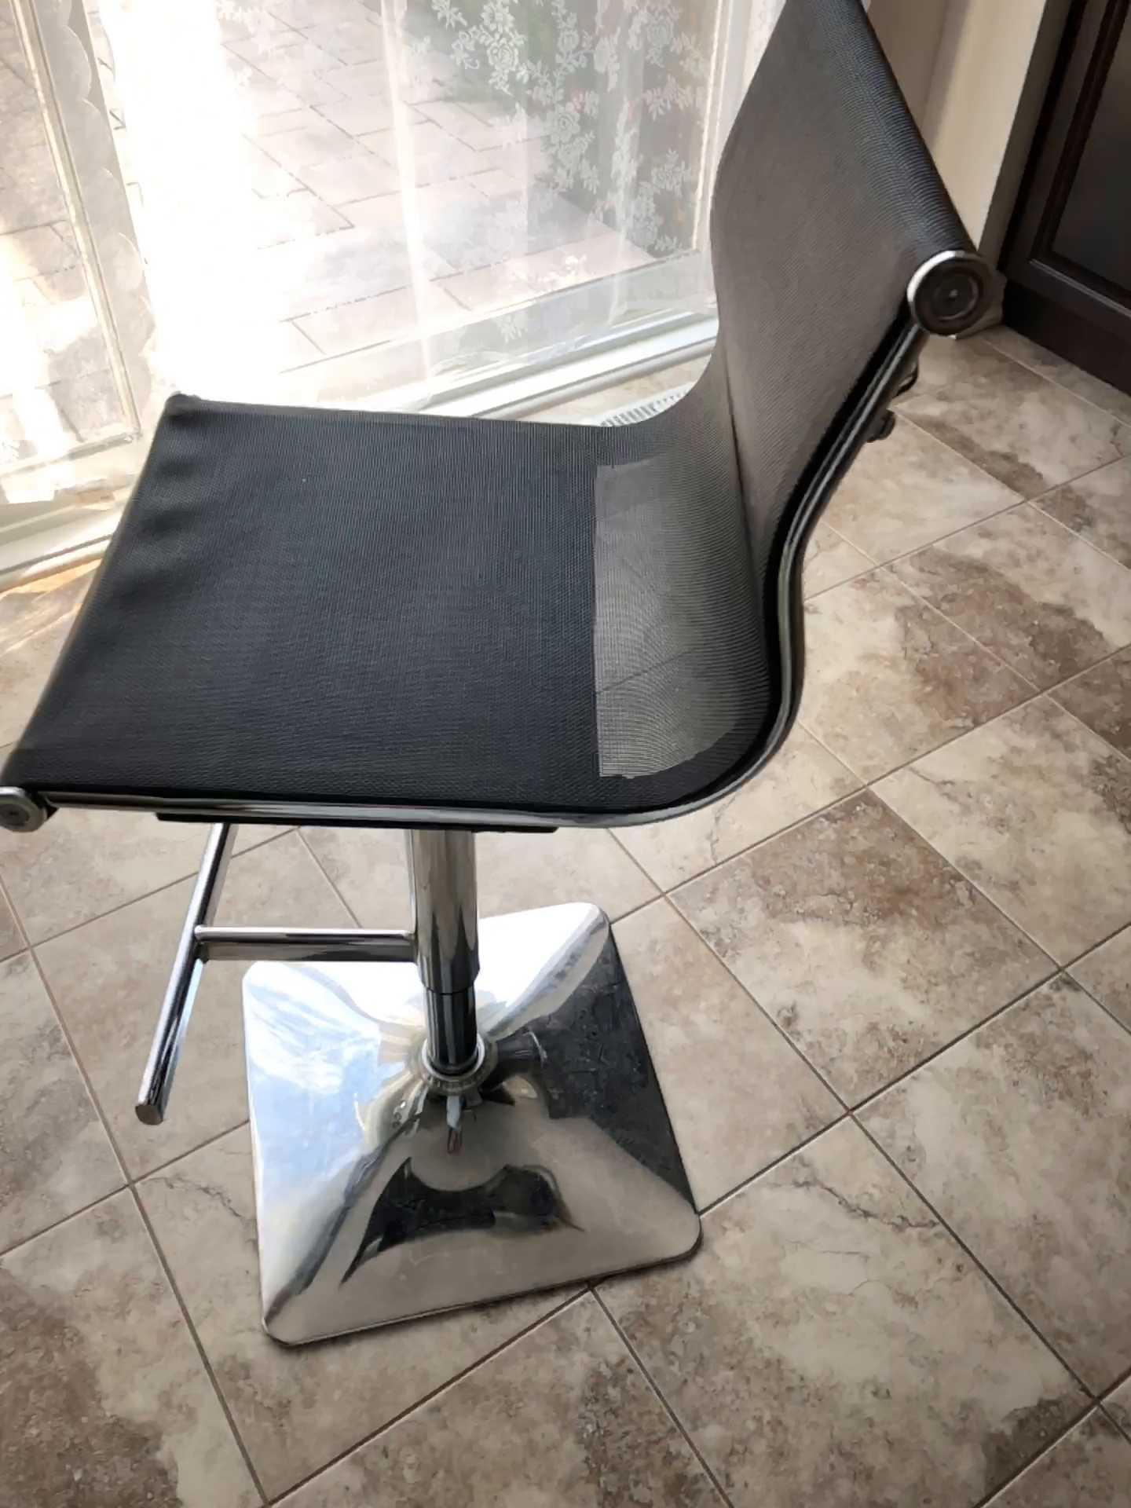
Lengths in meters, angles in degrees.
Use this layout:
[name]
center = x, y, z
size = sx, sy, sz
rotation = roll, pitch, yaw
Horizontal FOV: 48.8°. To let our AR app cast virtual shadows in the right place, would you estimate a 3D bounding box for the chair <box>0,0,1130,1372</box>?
[chair]
center = -0.105, -0.004, 0.922
size = 0.550, 0.977, 0.542
rotation = 3, 47, 0
